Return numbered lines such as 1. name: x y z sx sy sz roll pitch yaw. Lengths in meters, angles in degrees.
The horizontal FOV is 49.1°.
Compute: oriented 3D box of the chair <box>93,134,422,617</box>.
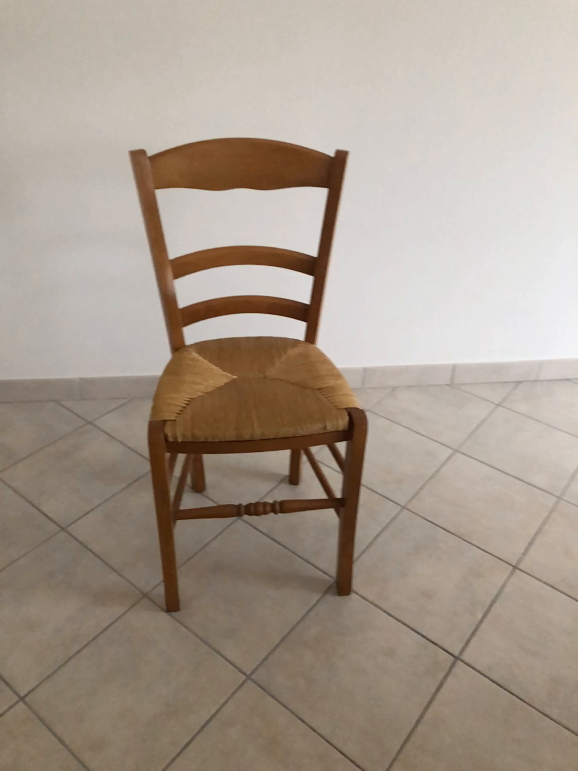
1. chair: -0.080 -0.023 1.296 0.450 0.825 0.503 -3 34 -7
